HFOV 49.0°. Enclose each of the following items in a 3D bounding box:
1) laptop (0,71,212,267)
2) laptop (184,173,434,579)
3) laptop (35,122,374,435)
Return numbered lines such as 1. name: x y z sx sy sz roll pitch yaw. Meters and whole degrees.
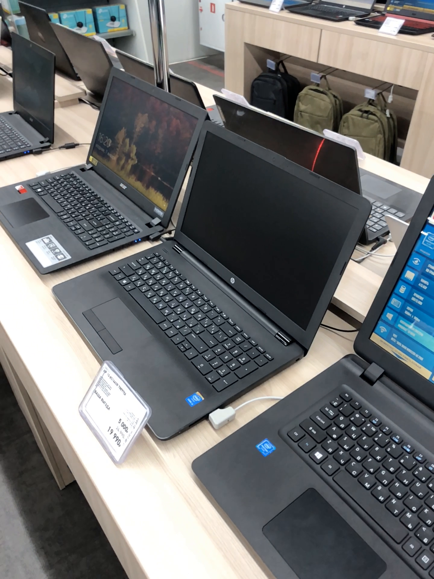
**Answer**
1. laptop: -0.275 -0.280 1.014 0.350 0.226 0.360 -25 45 -28
2. laptop: 0.256 0.126 0.451 0.395 0.267 0.398 -23 43 -27
3. laptop: -0.032 -0.060 0.741 0.334 0.215 0.378 -26 44 -26
